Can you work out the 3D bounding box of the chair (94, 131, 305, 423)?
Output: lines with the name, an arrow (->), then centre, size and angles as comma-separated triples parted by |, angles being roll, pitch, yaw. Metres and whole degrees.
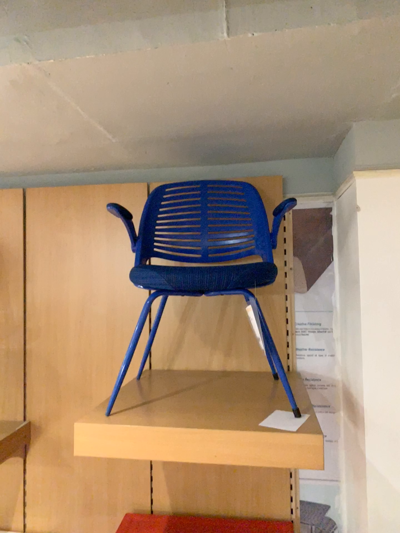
chair -> 0.009, 0.036, 1.406 | 0.570, 0.790, 0.550 | -1, -2, 4
